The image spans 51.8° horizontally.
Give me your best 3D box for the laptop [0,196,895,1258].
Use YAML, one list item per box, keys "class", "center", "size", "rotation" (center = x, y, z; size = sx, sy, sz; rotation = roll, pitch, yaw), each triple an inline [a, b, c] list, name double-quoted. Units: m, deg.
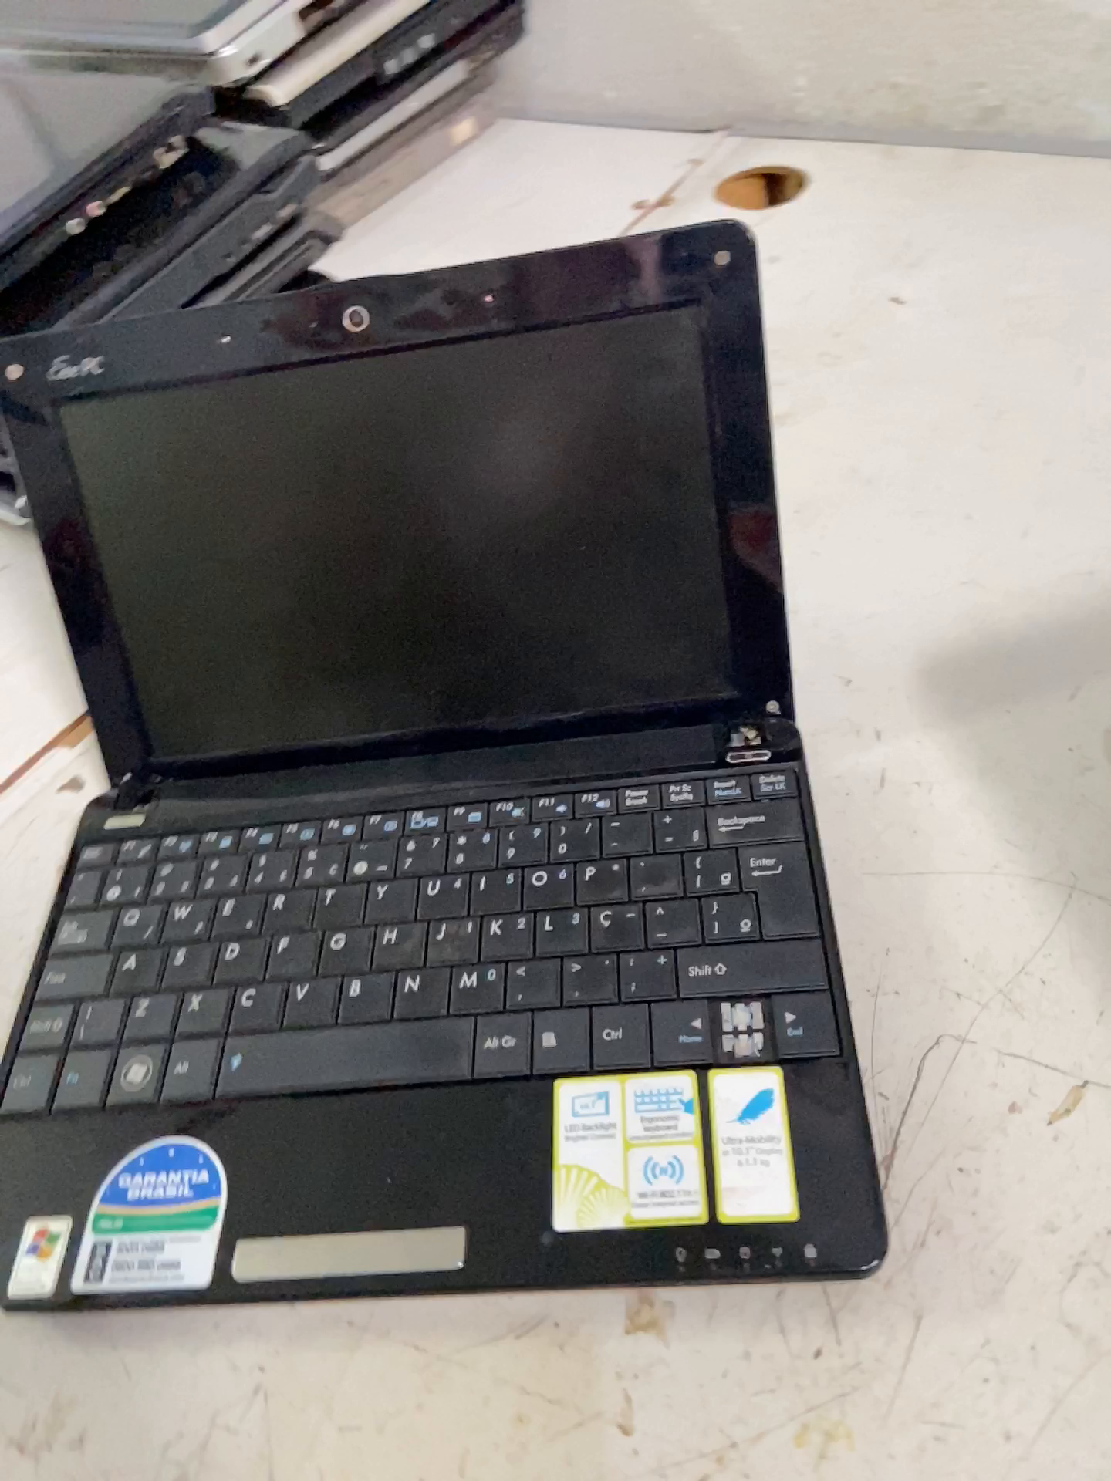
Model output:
- class: "laptop"
  center: [-0.059, -0.010, 0.341]
  size: [0.258, 0.131, 0.266]
  rotation: [-6, 51, 9]
